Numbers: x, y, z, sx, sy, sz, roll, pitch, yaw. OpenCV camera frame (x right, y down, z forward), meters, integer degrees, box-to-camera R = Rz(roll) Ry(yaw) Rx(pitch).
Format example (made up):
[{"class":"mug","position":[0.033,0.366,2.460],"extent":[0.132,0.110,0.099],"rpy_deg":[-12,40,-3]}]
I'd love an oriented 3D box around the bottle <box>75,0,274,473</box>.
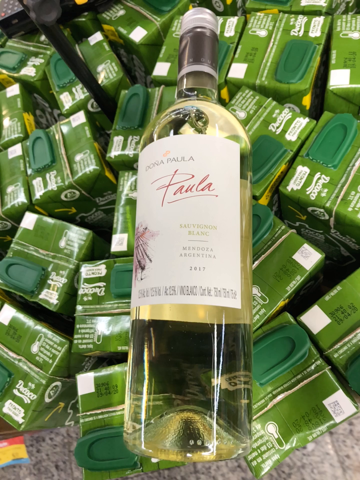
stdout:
[{"class":"bottle","position":[0.010,-0.049,0.257],"extent":[0.080,0.070,0.331],"rpy_deg":[-4,68,17]}]
